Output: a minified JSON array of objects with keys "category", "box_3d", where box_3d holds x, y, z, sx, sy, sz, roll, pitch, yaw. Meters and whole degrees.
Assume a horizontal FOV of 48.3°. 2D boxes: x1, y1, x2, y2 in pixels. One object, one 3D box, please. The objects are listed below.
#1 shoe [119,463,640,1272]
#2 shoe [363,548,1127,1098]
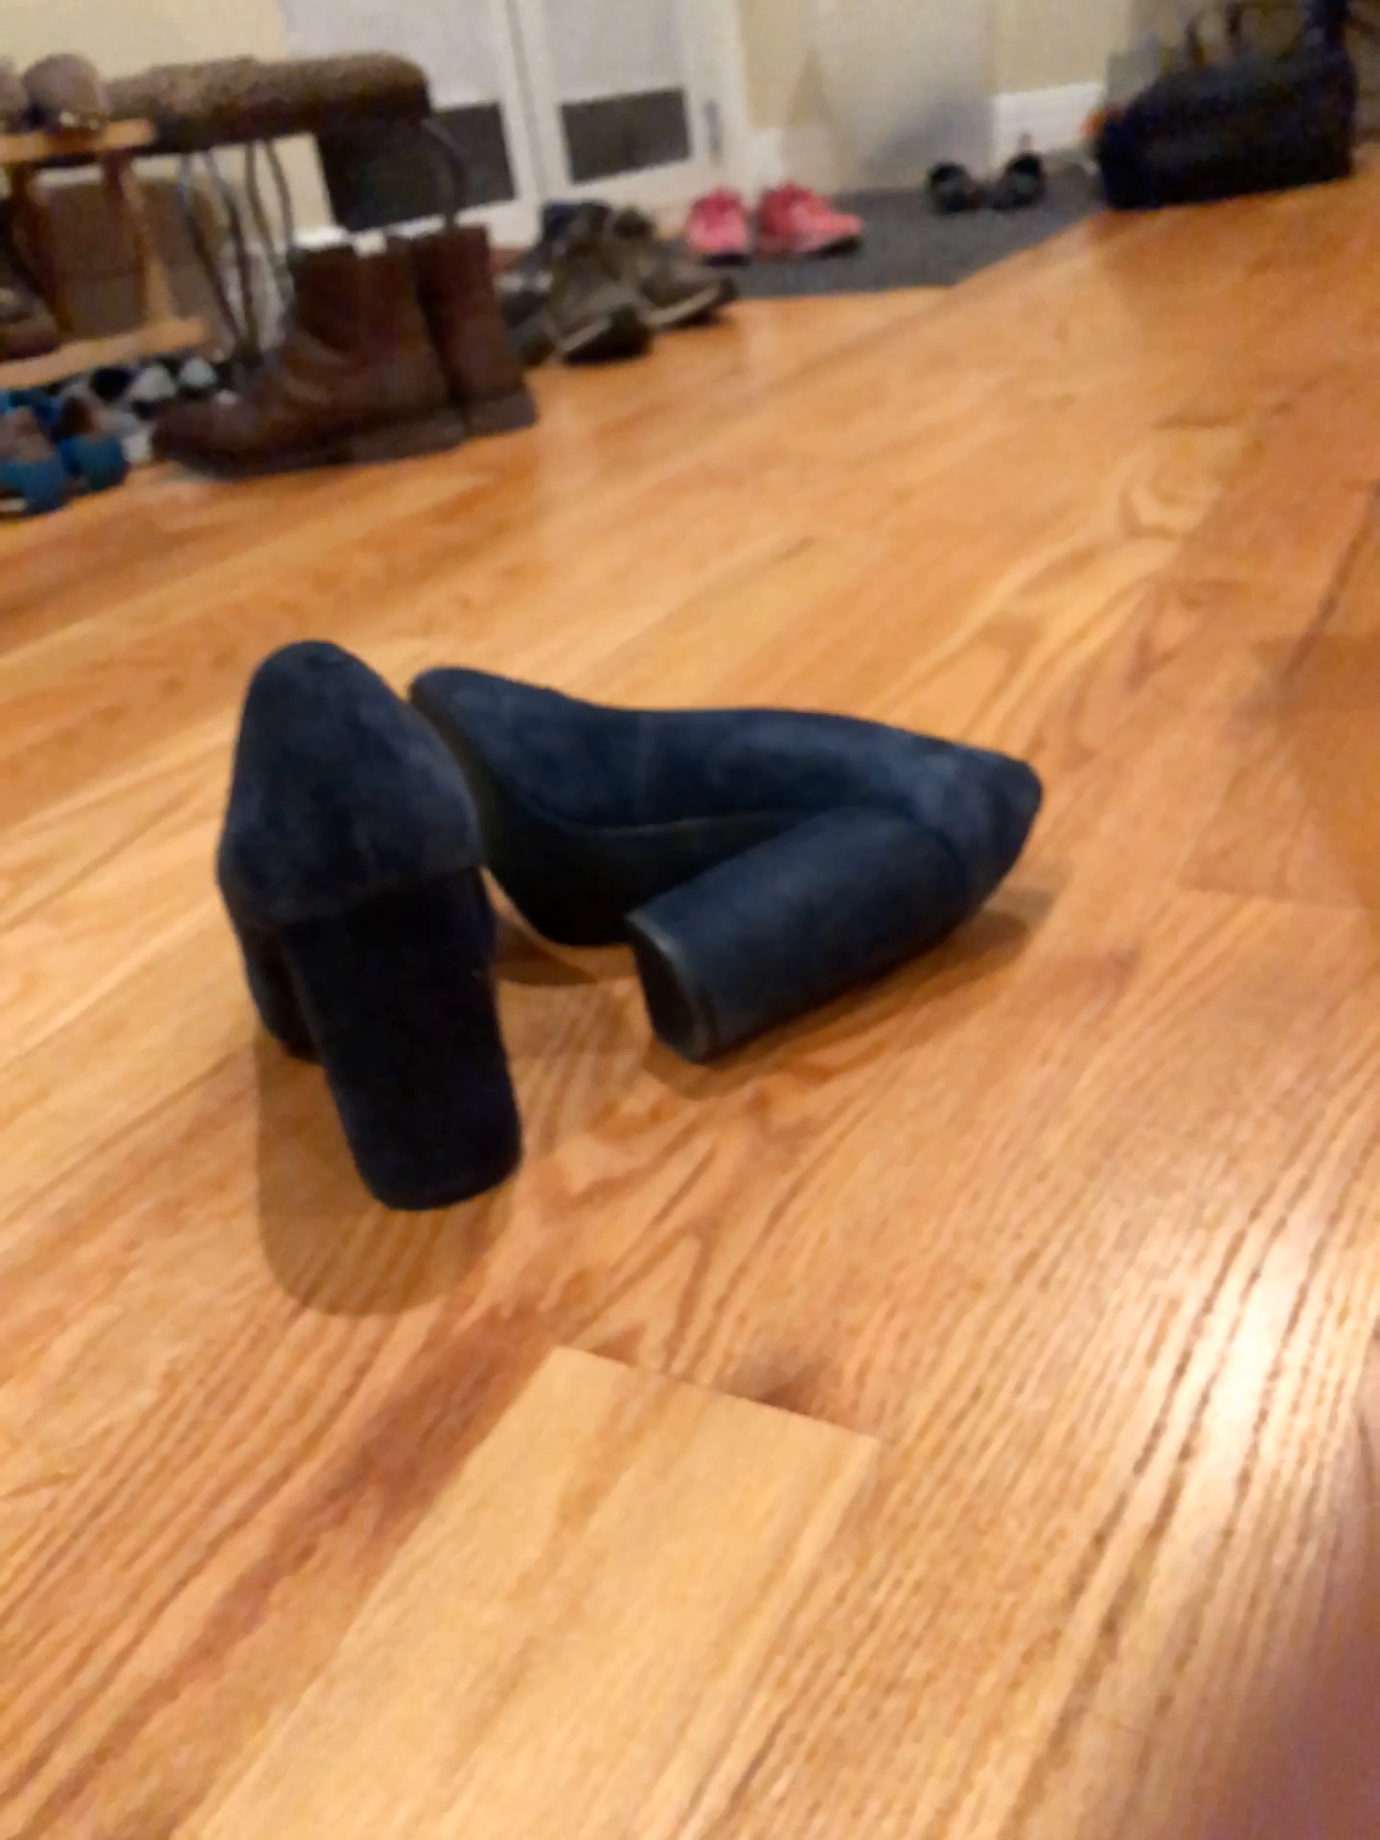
[{"category":"shoe","box_3d":[-0.100,-0.034,0.450,0.080,0.146,0.227,-17,29,-14]},{"category":"shoe","box_3d":[0.011,-0.049,0.505,0.152,0.080,0.205,-24,31,-26]}]
